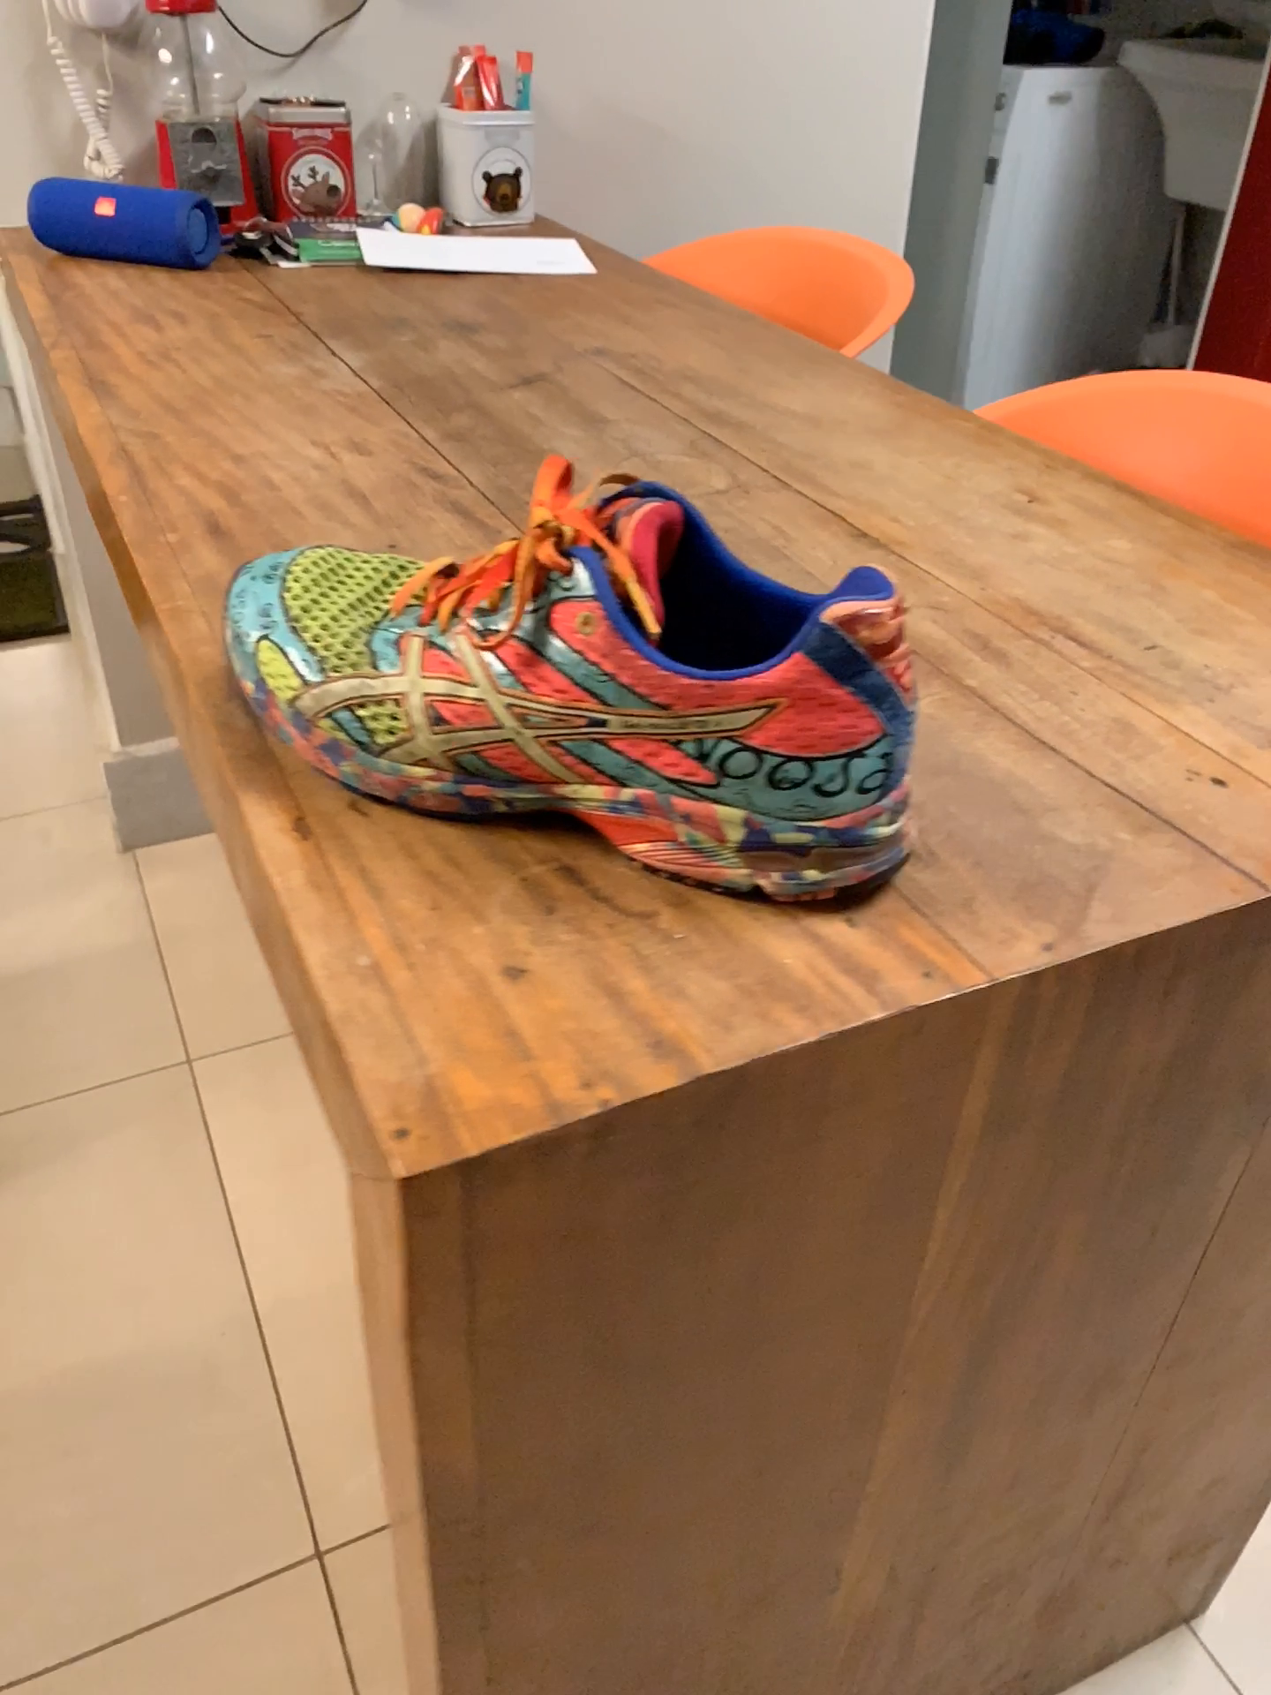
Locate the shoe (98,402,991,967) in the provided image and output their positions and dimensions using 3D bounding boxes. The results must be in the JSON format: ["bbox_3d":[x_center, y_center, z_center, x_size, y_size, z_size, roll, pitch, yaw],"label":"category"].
[{"bbox_3d":[-0.038,-0.077,0.511,0.310,0.118,0.111,16,38,20],"label":"shoe"}]
